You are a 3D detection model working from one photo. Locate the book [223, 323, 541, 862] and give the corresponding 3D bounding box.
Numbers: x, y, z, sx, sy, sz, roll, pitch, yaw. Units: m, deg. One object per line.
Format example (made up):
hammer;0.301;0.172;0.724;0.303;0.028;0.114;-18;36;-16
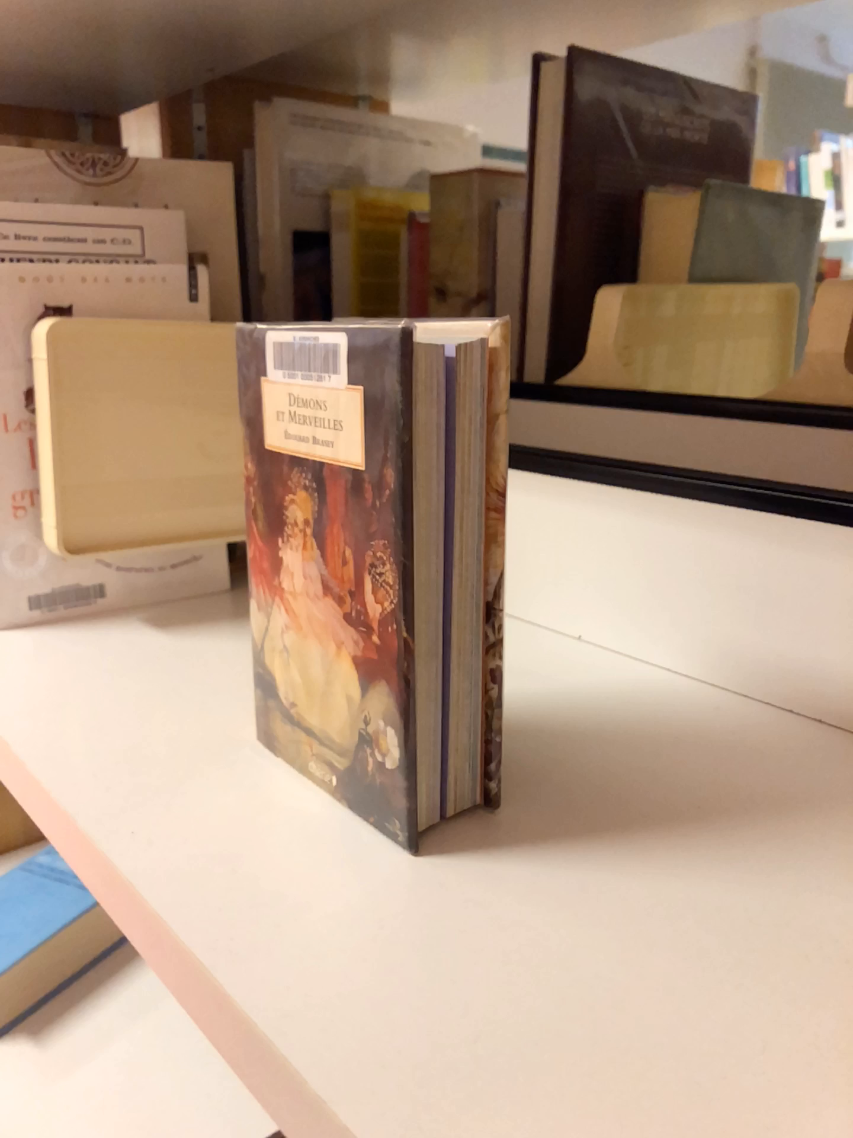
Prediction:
book;-0.020;-0.003;0.323;0.047;0.156;0.114;-9;17;-35
